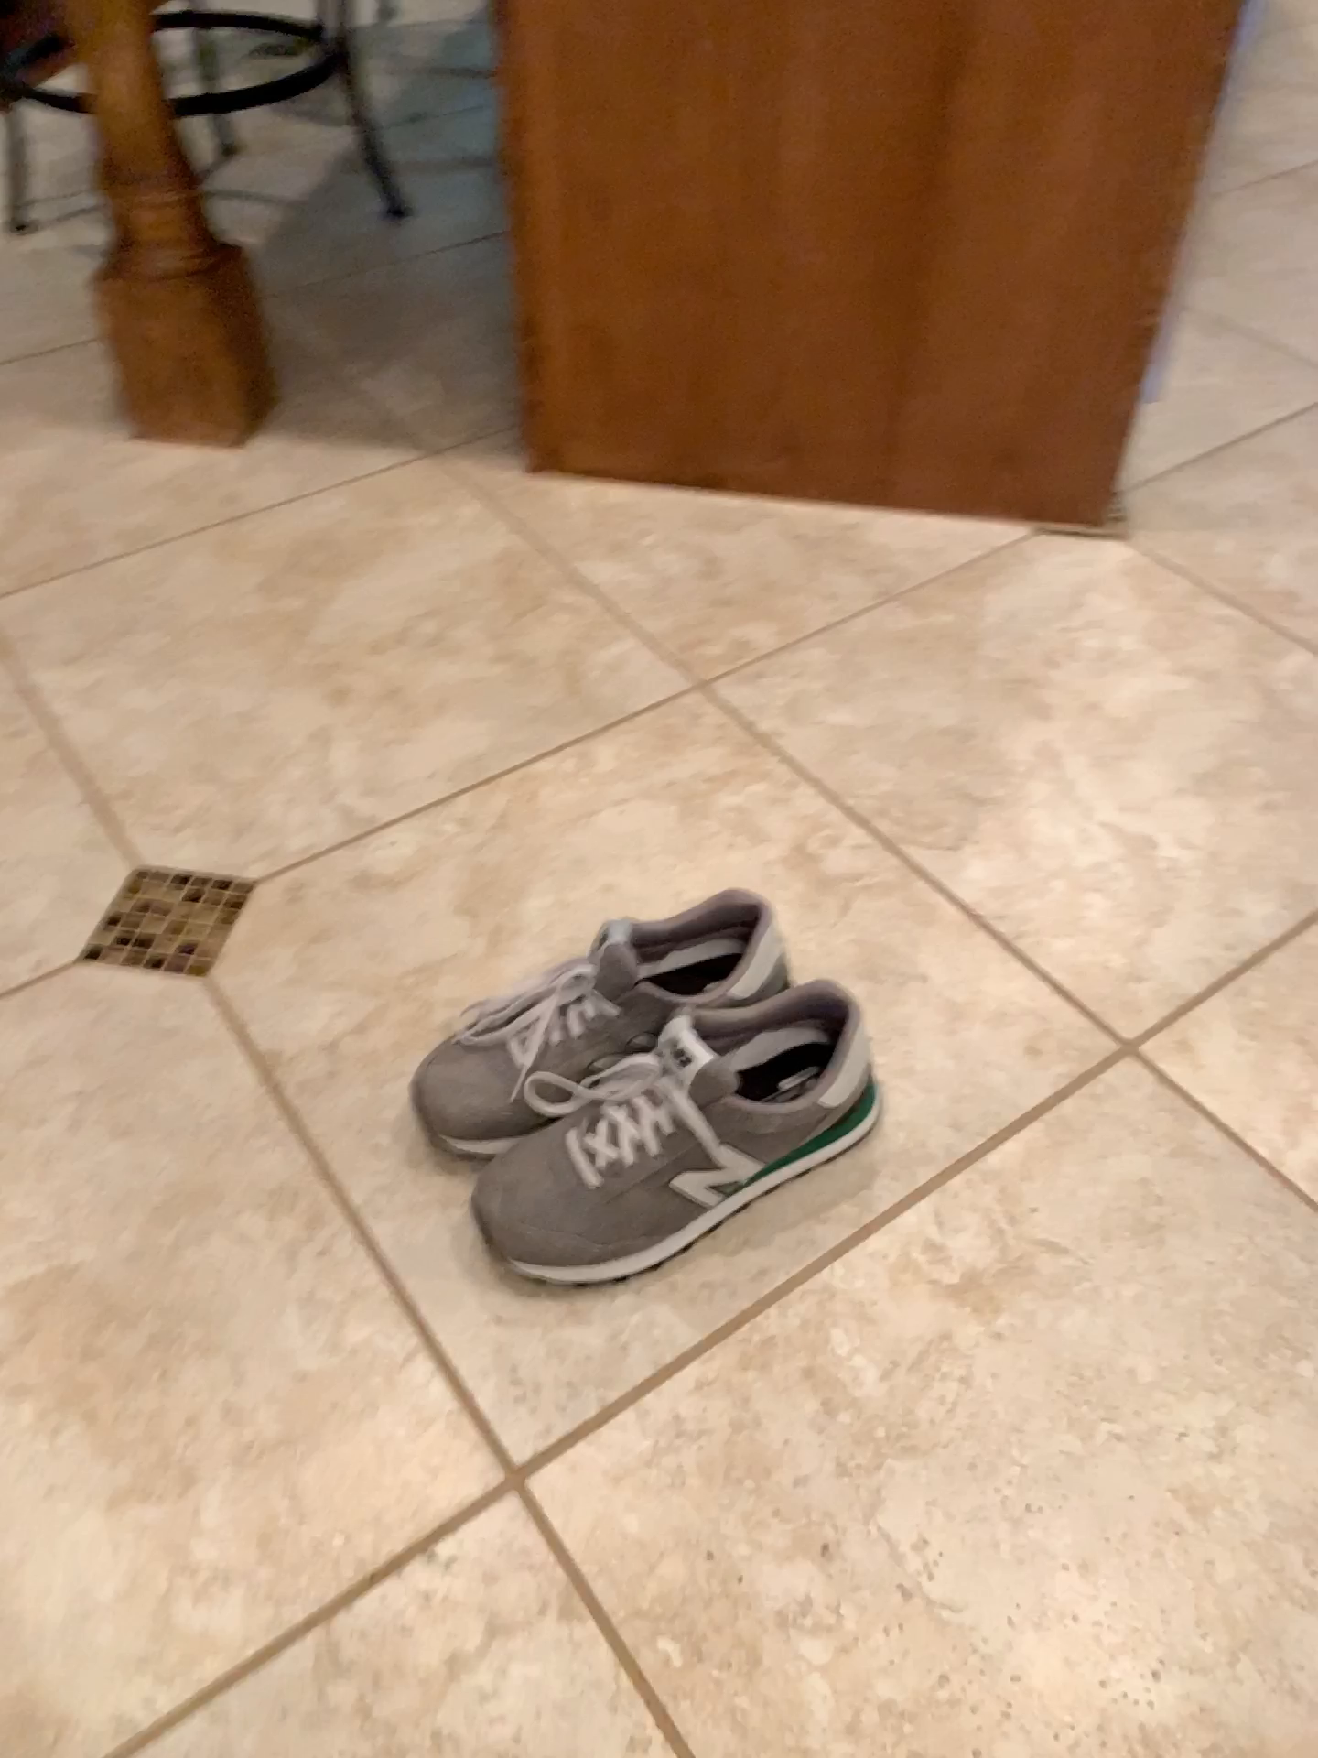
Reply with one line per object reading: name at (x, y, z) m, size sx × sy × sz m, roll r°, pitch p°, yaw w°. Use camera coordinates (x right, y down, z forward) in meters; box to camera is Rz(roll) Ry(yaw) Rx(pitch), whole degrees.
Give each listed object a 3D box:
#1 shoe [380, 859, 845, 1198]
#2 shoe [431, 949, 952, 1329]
shoe at (-0.030, 0.095, 0.898) m, size 0.274 × 0.103 × 0.116 m, roll -15°, pitch 48°, yaw -14°
shoe at (0.018, 0.155, 0.832) m, size 0.284 × 0.103 × 0.116 m, roll -15°, pitch 48°, yaw -14°
